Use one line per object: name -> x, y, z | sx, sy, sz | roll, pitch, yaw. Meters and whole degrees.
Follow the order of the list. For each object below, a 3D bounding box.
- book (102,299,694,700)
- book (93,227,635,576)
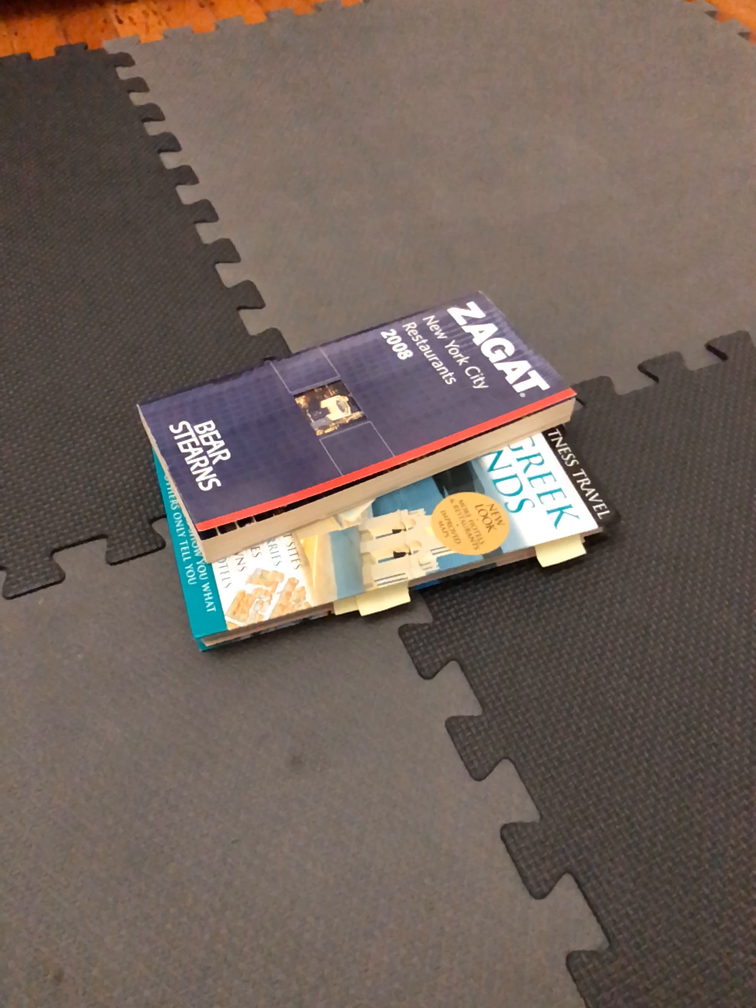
book -> 0.002, -0.018, 0.437 | 0.260, 0.030, 0.171 | -15, 54, -12
book -> -0.009, -0.070, 0.455 | 0.250, 0.020, 0.151 | -22, 55, -17
